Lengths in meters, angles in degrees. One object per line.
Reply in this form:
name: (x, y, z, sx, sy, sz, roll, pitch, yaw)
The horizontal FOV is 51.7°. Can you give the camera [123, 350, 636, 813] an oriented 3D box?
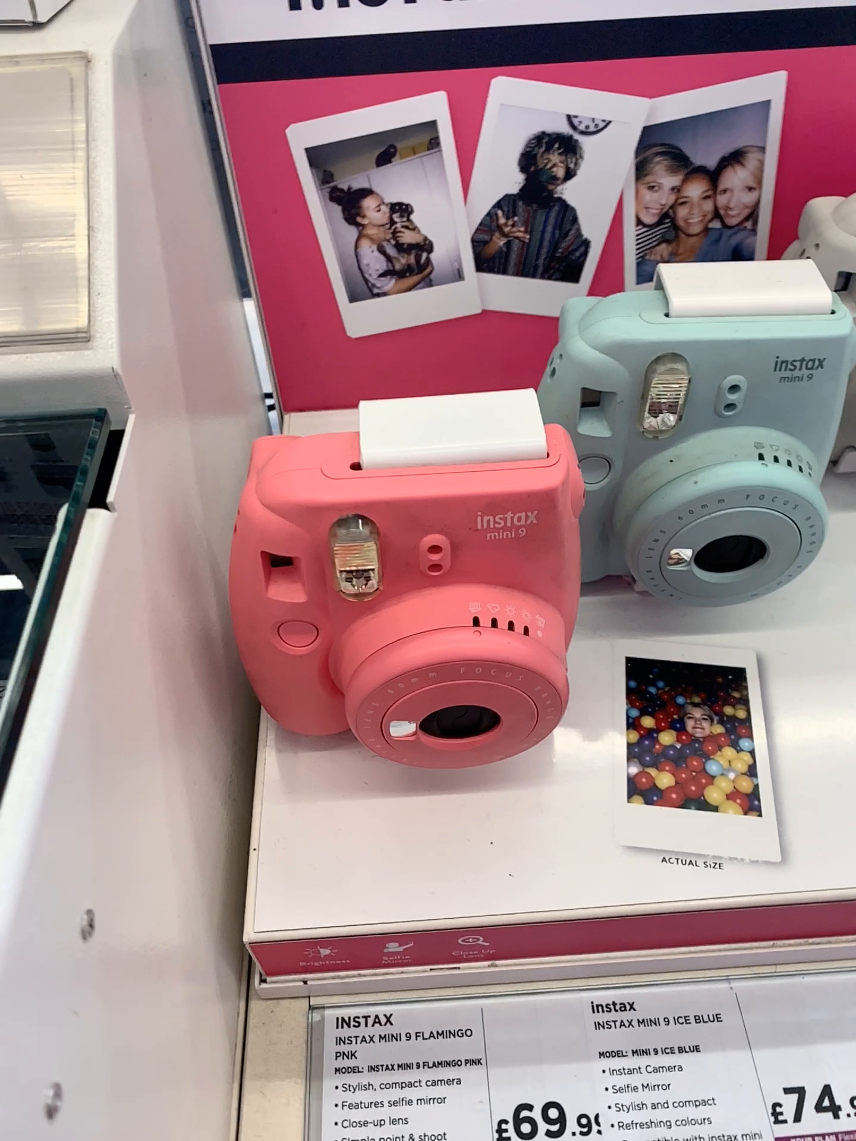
camera: (-0.011, 0.008, 0.278, 0.120, 0.119, 0.081, -4, 49, -1)
